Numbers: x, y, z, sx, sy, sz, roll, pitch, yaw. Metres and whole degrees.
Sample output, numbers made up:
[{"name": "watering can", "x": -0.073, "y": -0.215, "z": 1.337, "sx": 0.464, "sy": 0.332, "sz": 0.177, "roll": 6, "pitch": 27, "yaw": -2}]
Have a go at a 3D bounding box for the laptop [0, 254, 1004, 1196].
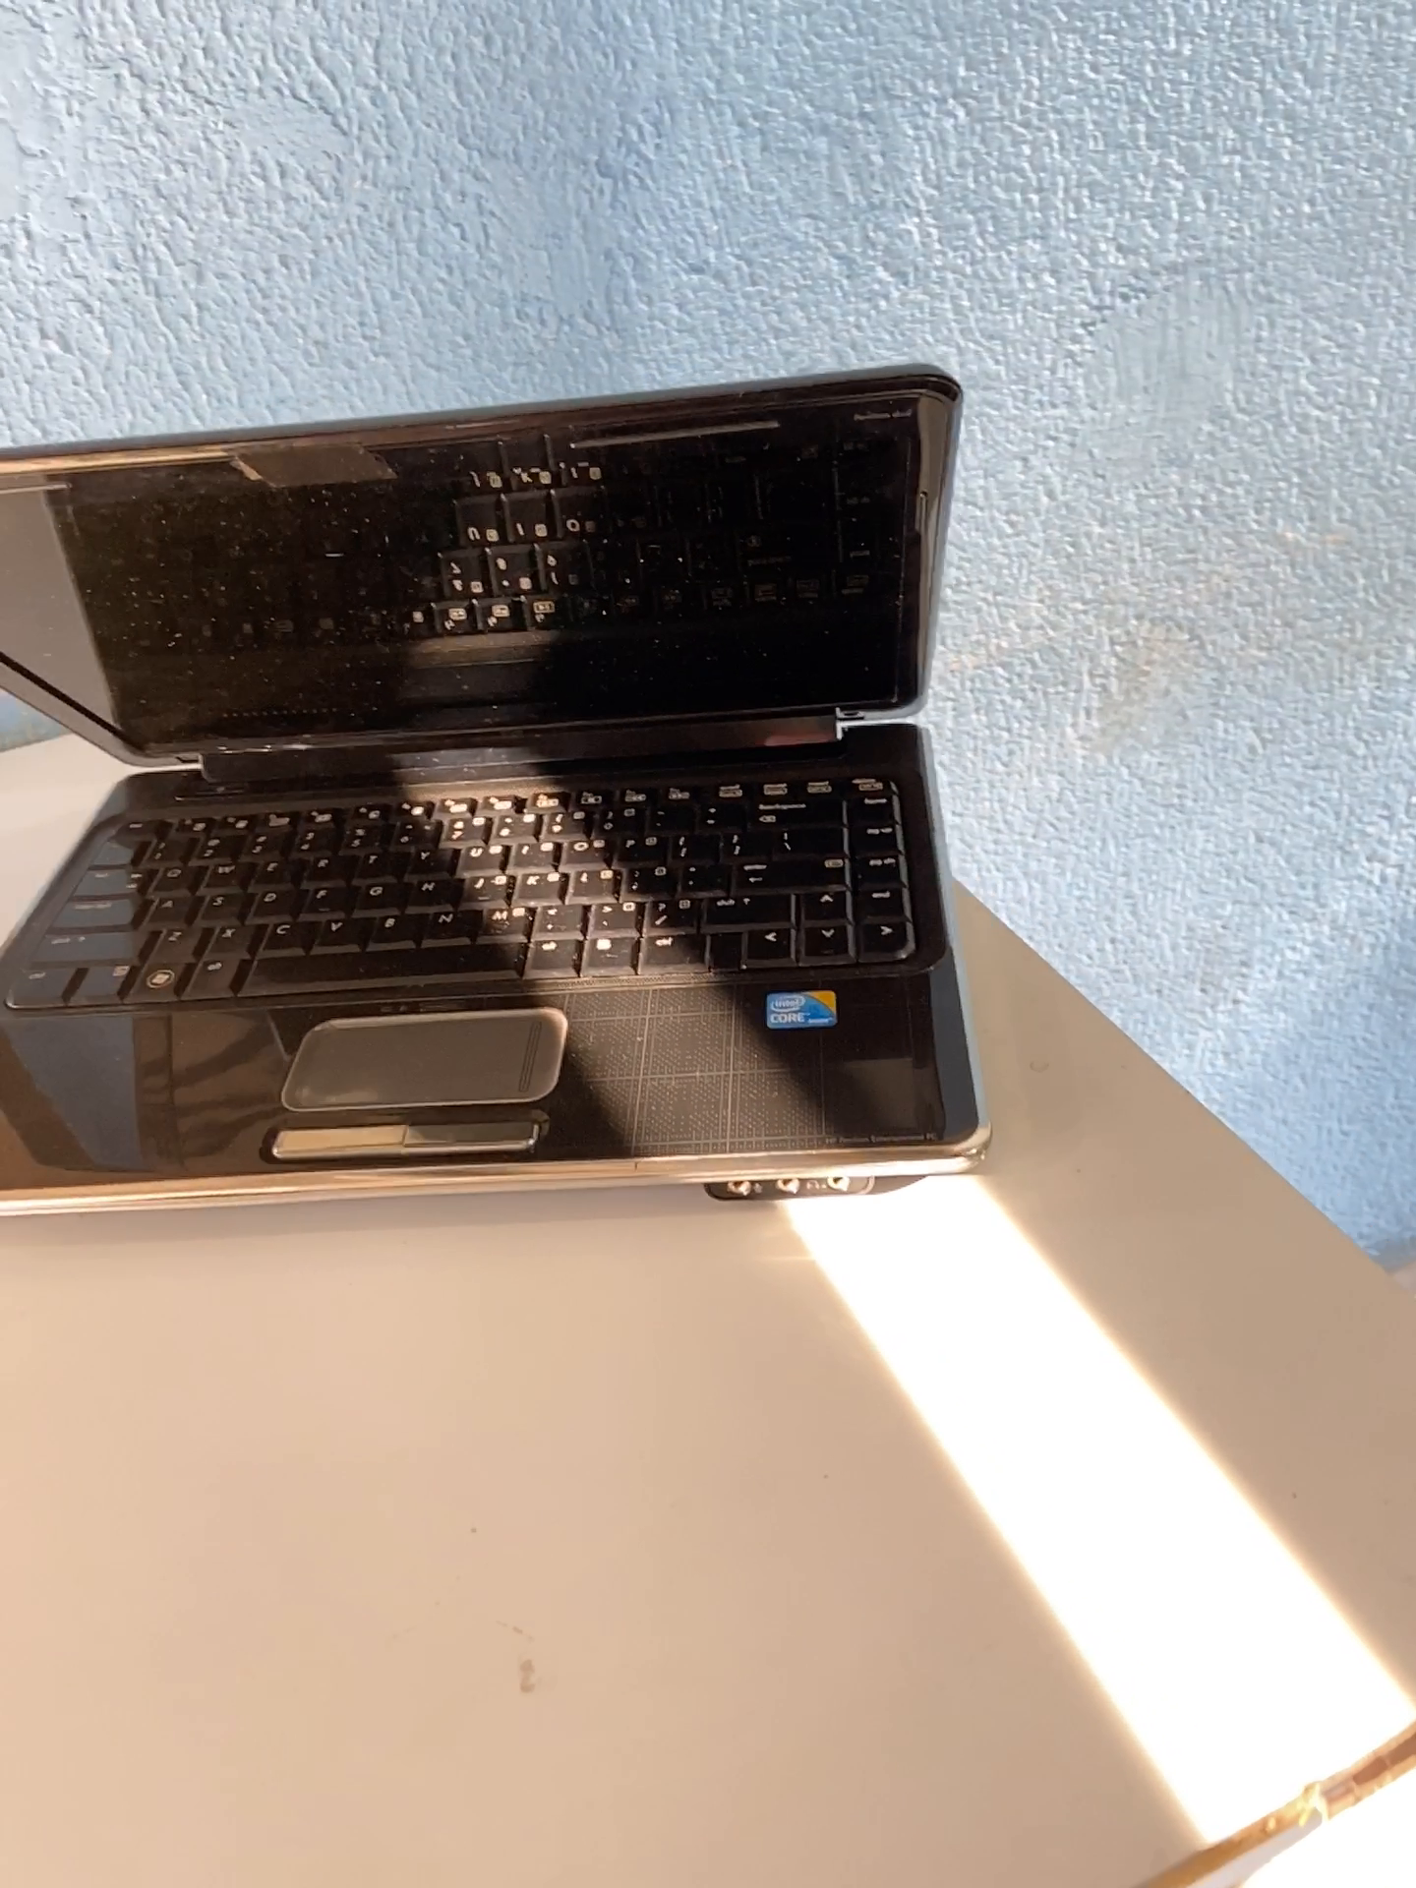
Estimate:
[{"name": "laptop", "x": -0.089, "y": -0.074, "z": 0.441, "sx": 0.325, "sy": 0.165, "sz": 0.226, "roll": -3, "pitch": 37, "yaw": 6}]
